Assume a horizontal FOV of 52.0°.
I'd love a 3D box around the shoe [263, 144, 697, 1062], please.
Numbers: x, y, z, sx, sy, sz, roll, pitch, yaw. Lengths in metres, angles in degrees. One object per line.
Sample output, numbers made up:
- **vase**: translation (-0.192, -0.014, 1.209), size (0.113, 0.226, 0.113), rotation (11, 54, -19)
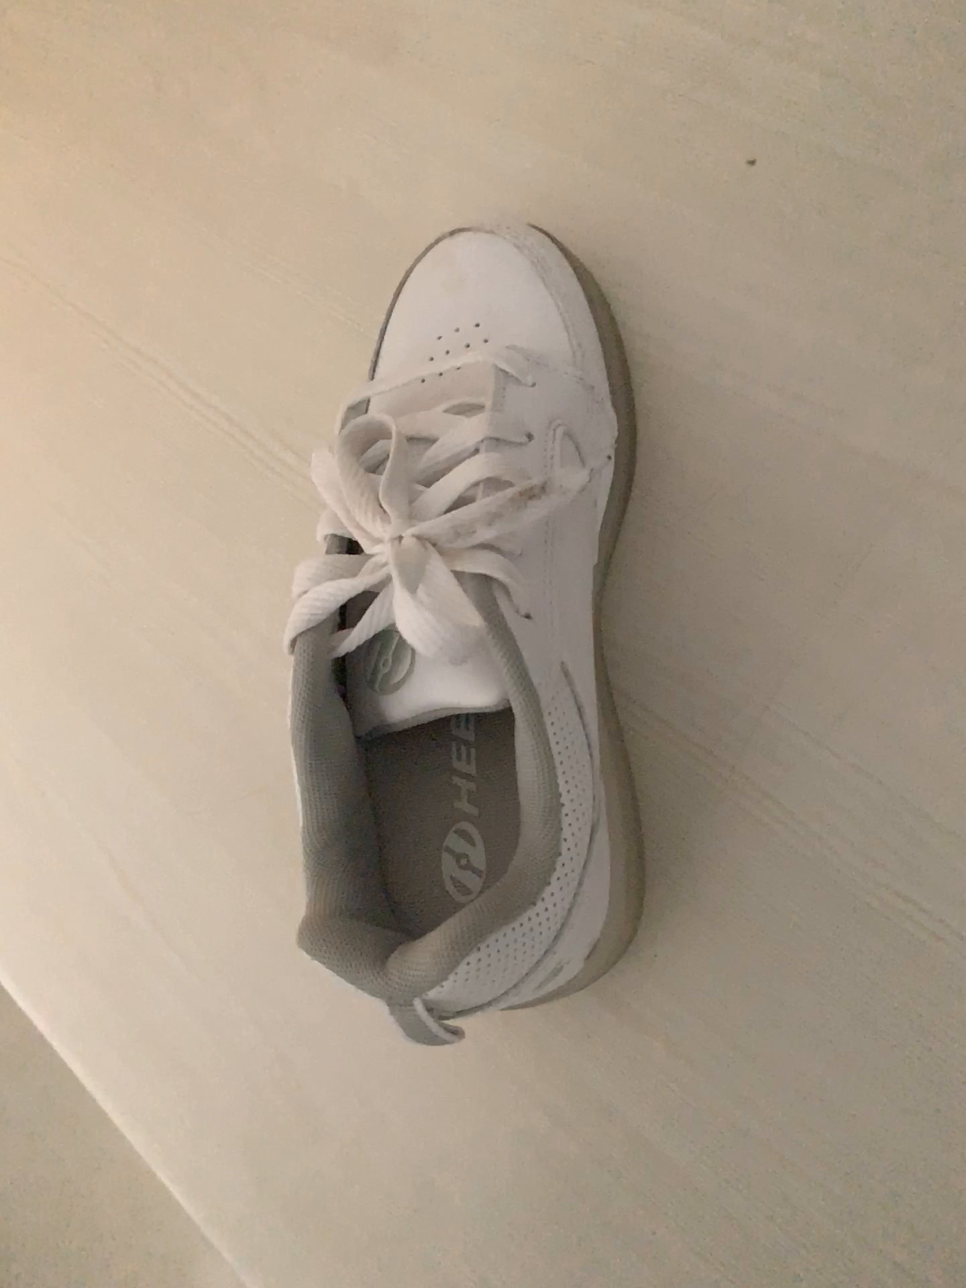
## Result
- **shoe**: translation (0.000, -0.008, 0.298), size (0.090, 0.090, 0.230), rotation (-8, 76, 24)
